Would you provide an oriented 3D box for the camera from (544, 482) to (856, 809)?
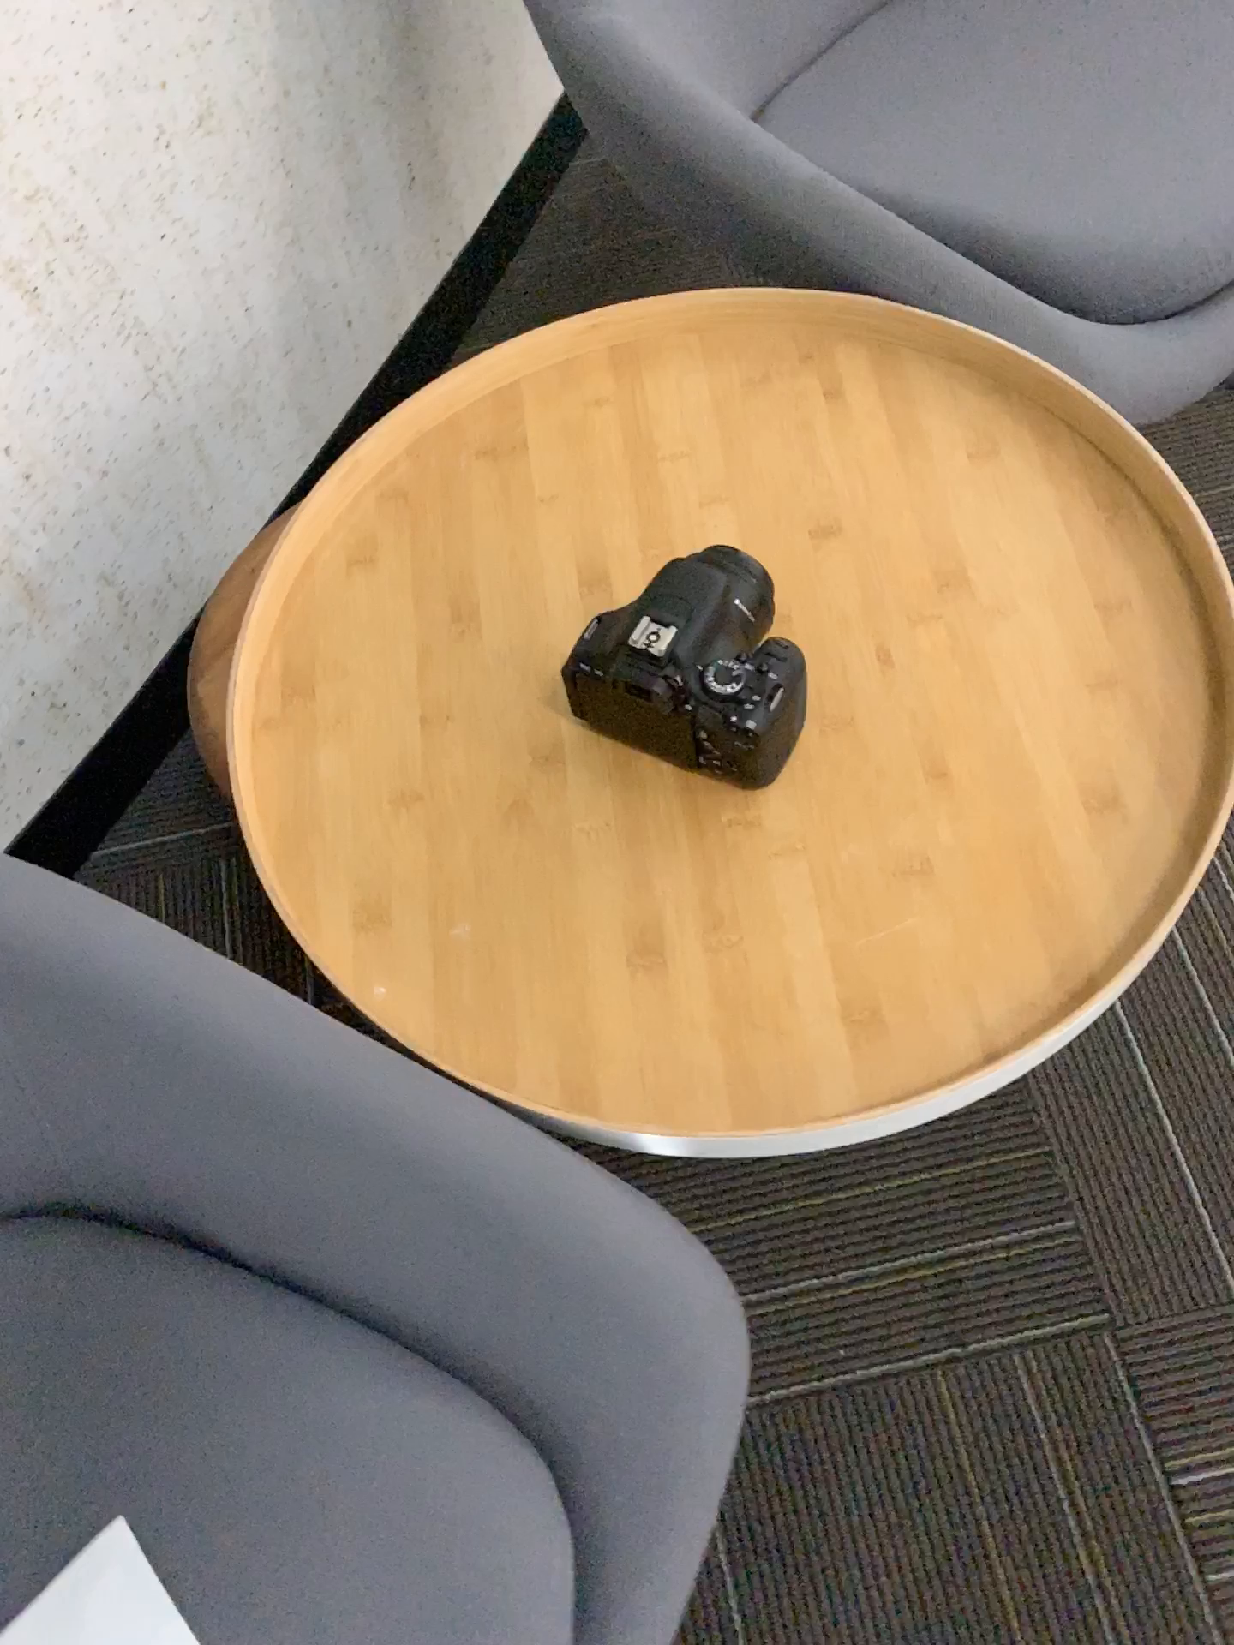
[{"bbox_3d":[0.050,-0.103,0.736,0.134,0.100,0.117,23,67,17],"label":"camera"}]
